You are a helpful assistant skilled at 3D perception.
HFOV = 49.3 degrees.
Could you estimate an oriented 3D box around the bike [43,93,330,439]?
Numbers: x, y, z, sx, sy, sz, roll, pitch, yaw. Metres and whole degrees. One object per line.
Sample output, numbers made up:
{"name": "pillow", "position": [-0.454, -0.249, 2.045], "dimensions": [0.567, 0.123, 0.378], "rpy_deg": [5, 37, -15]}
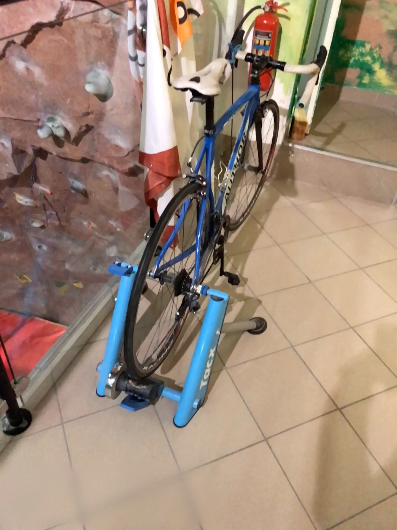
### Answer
{"name": "bike", "position": [0.119, -0.176, 1.793], "dimensions": [0.466, 0.682, 1.560], "rpy_deg": [17, 36, 15]}
